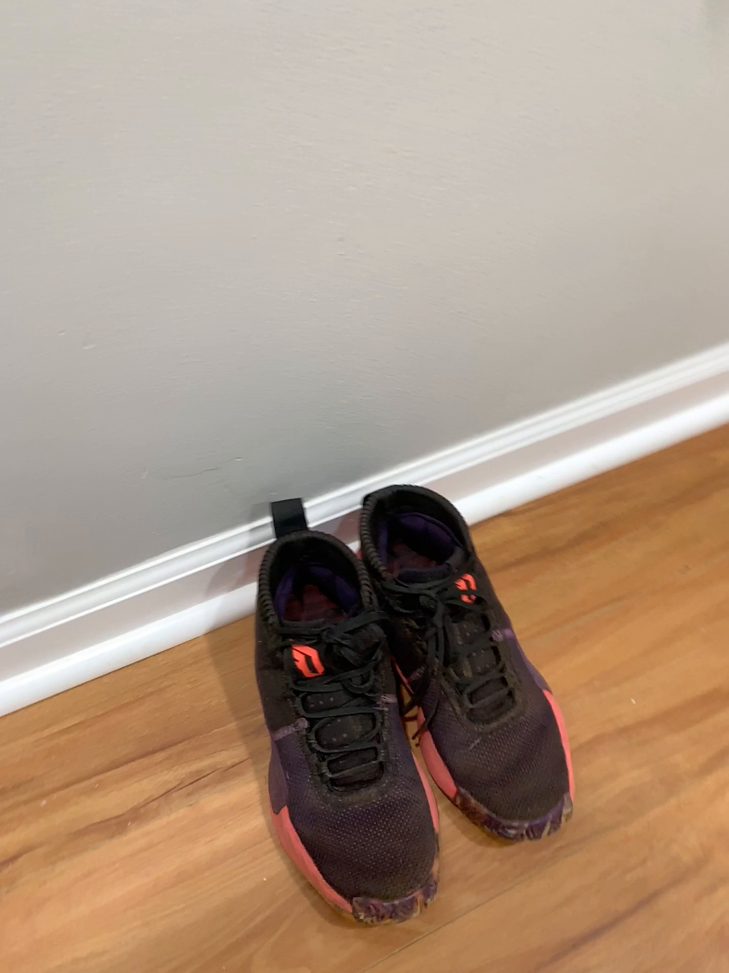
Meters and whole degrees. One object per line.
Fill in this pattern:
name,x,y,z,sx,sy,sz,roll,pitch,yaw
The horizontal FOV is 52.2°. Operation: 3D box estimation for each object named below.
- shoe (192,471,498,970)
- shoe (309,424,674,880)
shoe,-0.027,0.147,0.528,0.120,0.131,0.287,-15,48,-10
shoe,0.072,0.107,0.560,0.120,0.131,0.287,-20,49,-14
